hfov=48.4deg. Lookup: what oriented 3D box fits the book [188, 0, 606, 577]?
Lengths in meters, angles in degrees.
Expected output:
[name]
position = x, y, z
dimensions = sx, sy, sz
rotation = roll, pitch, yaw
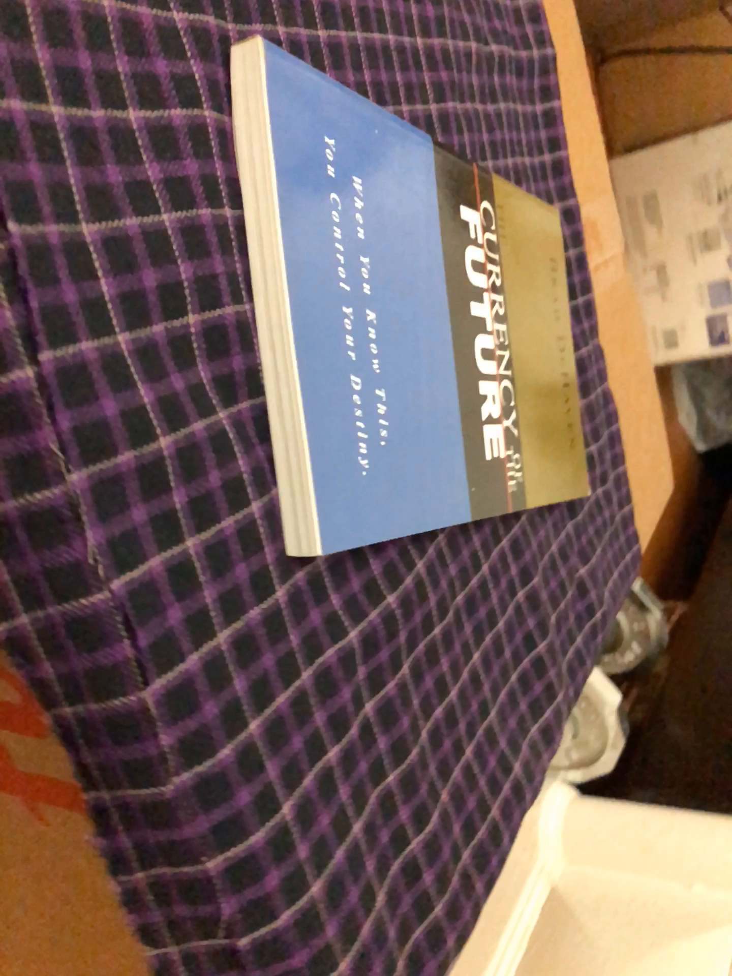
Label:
[book]
position = 0.033, -0.060, 0.297
dimensions = 0.221, 0.020, 0.150
rotation = -7, 90, -55
